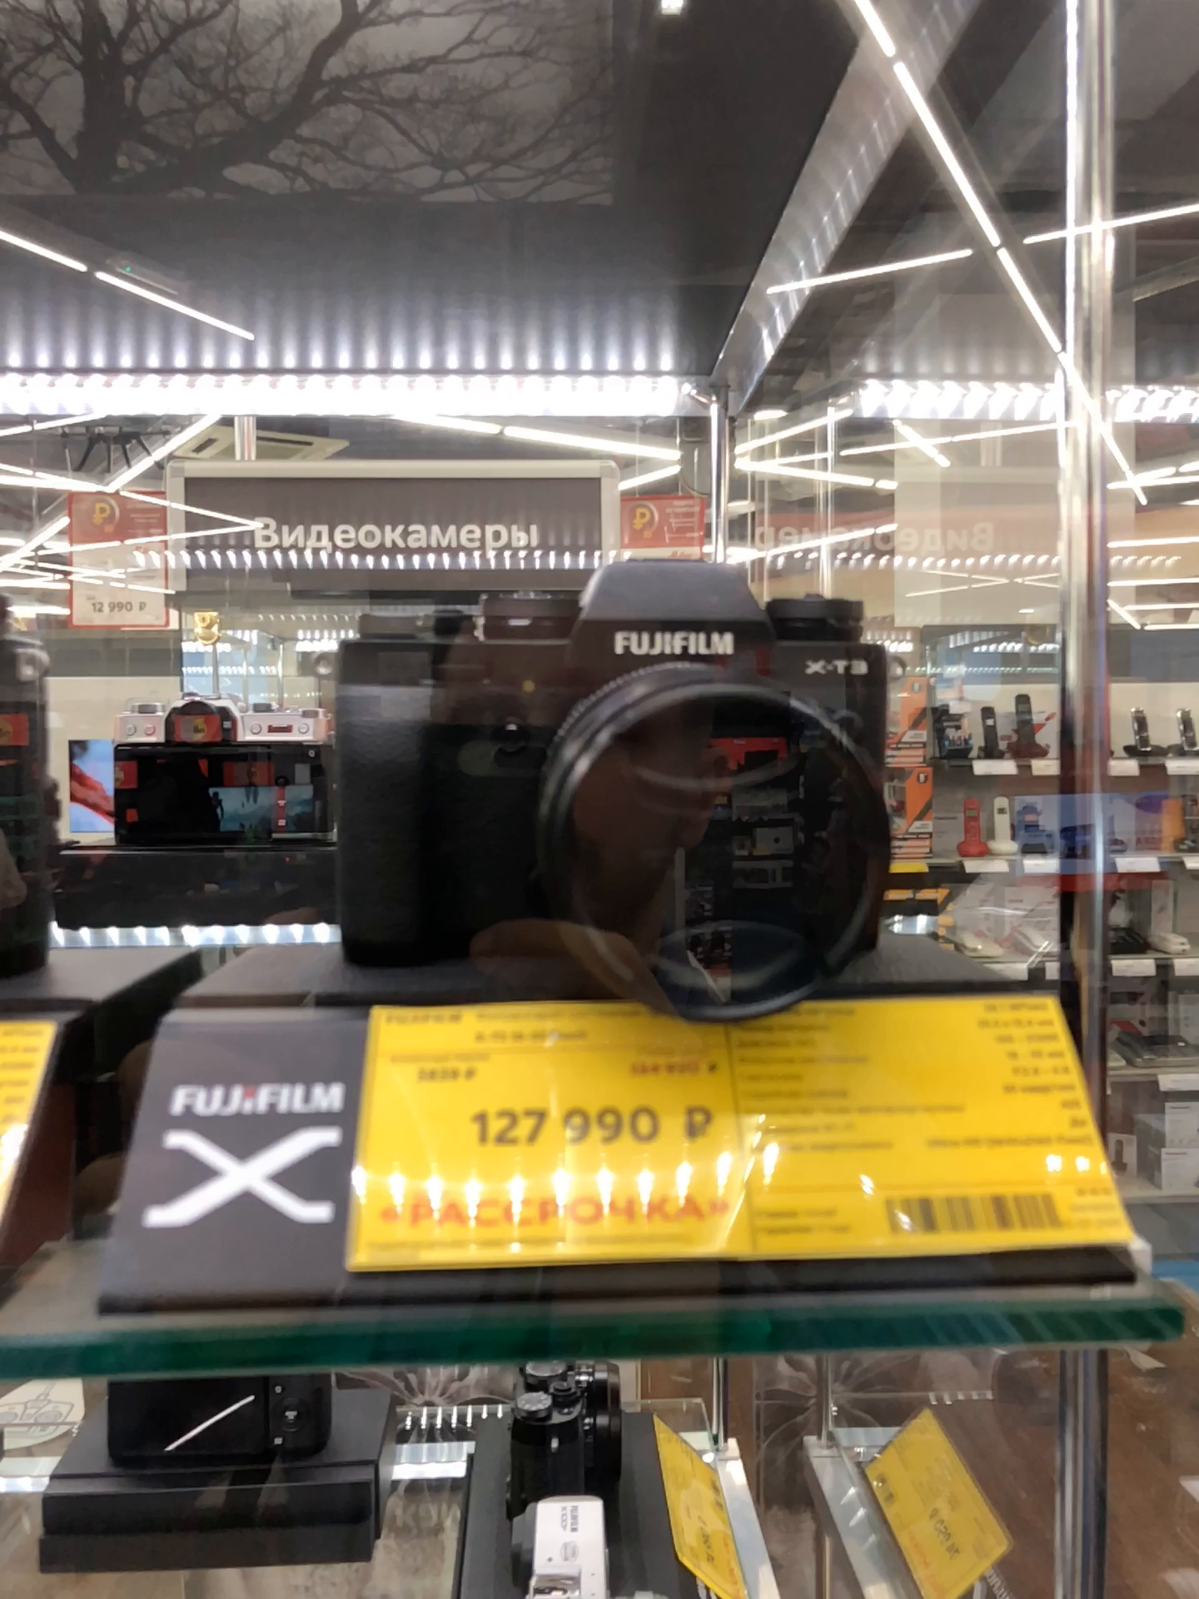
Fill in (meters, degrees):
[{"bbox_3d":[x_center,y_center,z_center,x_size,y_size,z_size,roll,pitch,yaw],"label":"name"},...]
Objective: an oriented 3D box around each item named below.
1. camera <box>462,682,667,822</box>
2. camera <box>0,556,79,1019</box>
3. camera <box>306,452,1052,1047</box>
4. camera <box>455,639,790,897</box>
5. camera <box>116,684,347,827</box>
[{"bbox_3d":[-0.019,-0.026,0.733,0.109,0.074,0.056,-1,1,0],"label":"camera"},{"bbox_3d":[-0.189,-0.004,0.287,0.125,0.088,0.066,-1,1,-3],"label":"camera"},{"bbox_3d":[0.010,-0.011,0.286,0.129,0.100,0.119,-1,2,-5],"label":"camera"},{"bbox_3d":[0.007,-0.013,0.518,0.115,0.088,0.125,-1,2,-2],"label":"camera"},{"bbox_3d":[-0.198,-0.024,0.718,0.109,0.074,0.056,-1,1,0],"label":"camera"}]
